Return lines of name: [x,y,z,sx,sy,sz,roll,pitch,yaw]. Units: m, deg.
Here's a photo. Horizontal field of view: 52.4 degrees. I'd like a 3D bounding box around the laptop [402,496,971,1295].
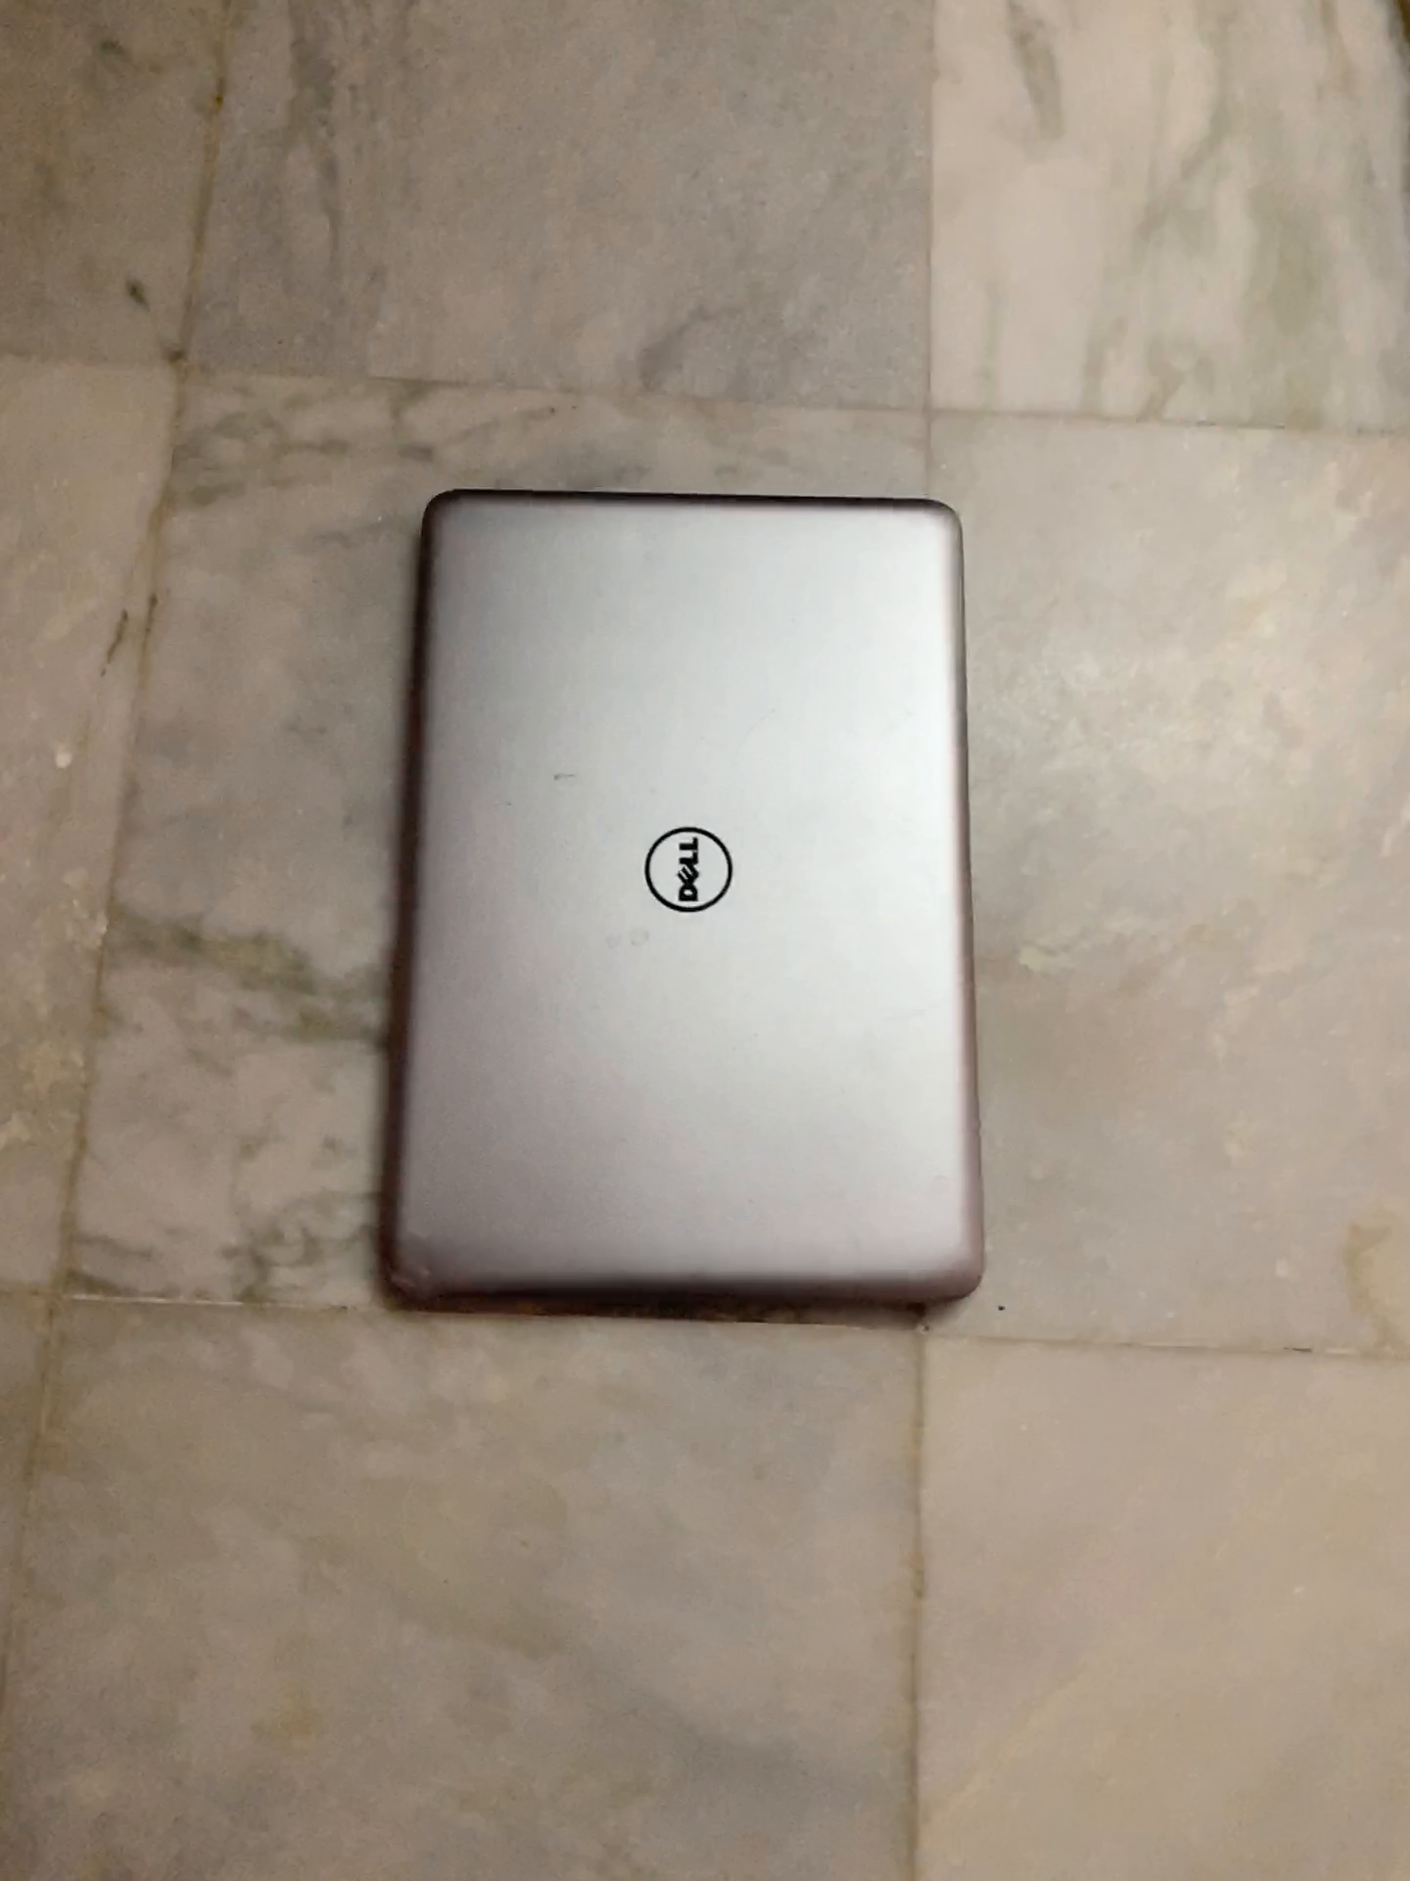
laptop: [-0.008,-0.029,0.621,0.234,0.001,0.351,0,80,-2]
